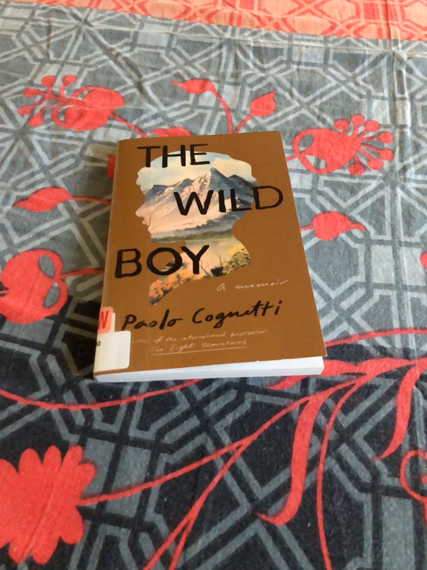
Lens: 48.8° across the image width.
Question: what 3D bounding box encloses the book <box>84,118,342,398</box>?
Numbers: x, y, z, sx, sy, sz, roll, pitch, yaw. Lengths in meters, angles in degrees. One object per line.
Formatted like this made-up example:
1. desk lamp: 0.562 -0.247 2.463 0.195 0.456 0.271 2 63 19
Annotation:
1. book: -0.005 -0.036 0.352 0.150 0.030 0.230 -4 55 1
